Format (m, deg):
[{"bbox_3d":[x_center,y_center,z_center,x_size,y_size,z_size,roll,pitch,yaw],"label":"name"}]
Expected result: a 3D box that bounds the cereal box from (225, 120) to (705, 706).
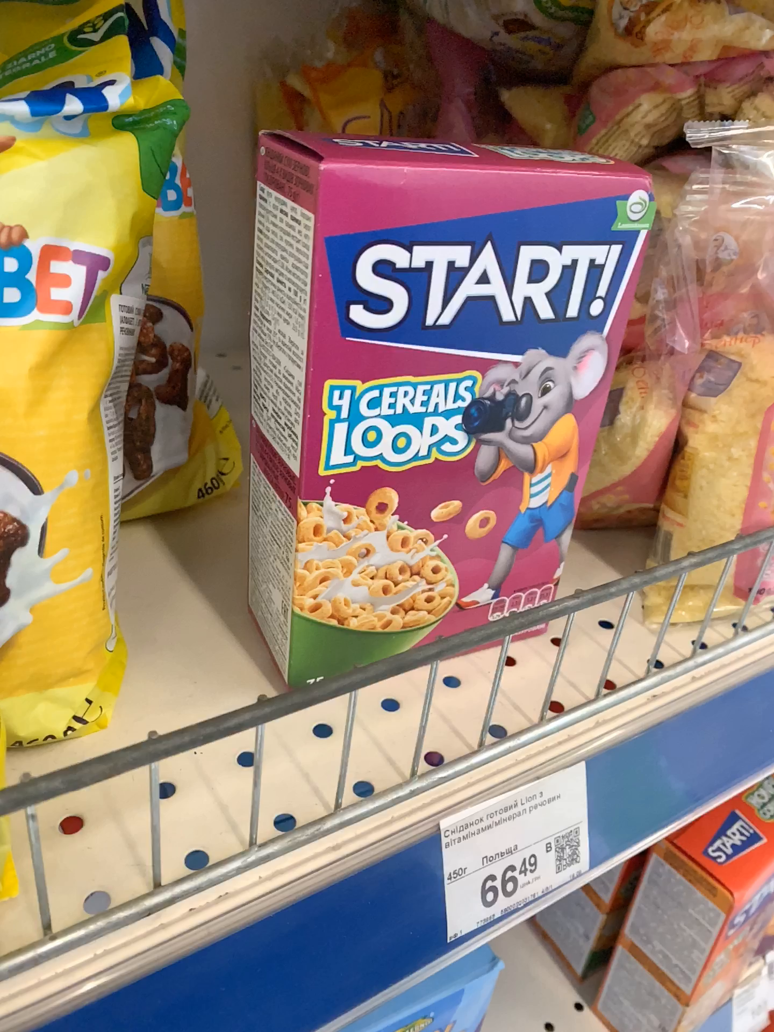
[{"bbox_3d":[0.015,-0.031,0.256,0.120,0.159,0.050,-10,34,-26],"label":"cereal box"}]
